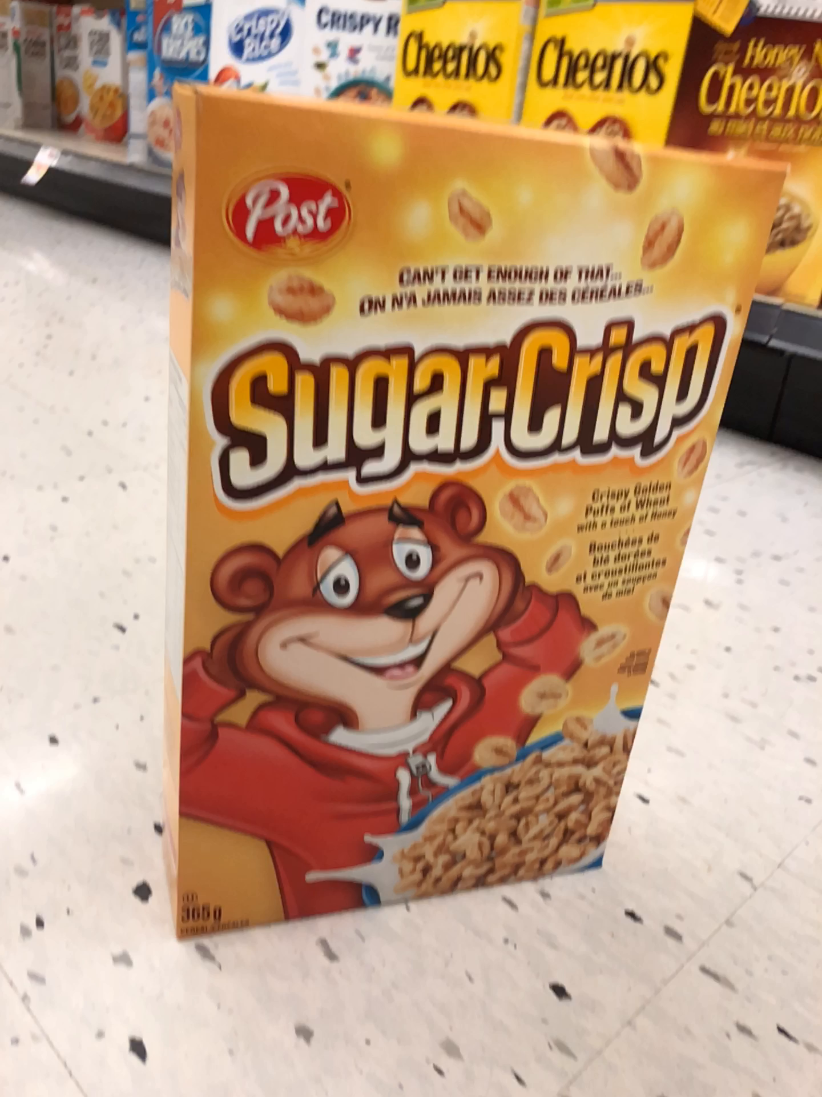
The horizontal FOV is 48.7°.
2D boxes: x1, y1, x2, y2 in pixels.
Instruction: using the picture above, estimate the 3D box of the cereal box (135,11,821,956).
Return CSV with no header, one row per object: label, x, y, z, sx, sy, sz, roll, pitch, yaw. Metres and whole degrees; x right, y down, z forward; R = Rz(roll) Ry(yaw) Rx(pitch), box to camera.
cereal box,0.012,-0.004,0.331,0.210,0.298,0.060,-2,25,-21
